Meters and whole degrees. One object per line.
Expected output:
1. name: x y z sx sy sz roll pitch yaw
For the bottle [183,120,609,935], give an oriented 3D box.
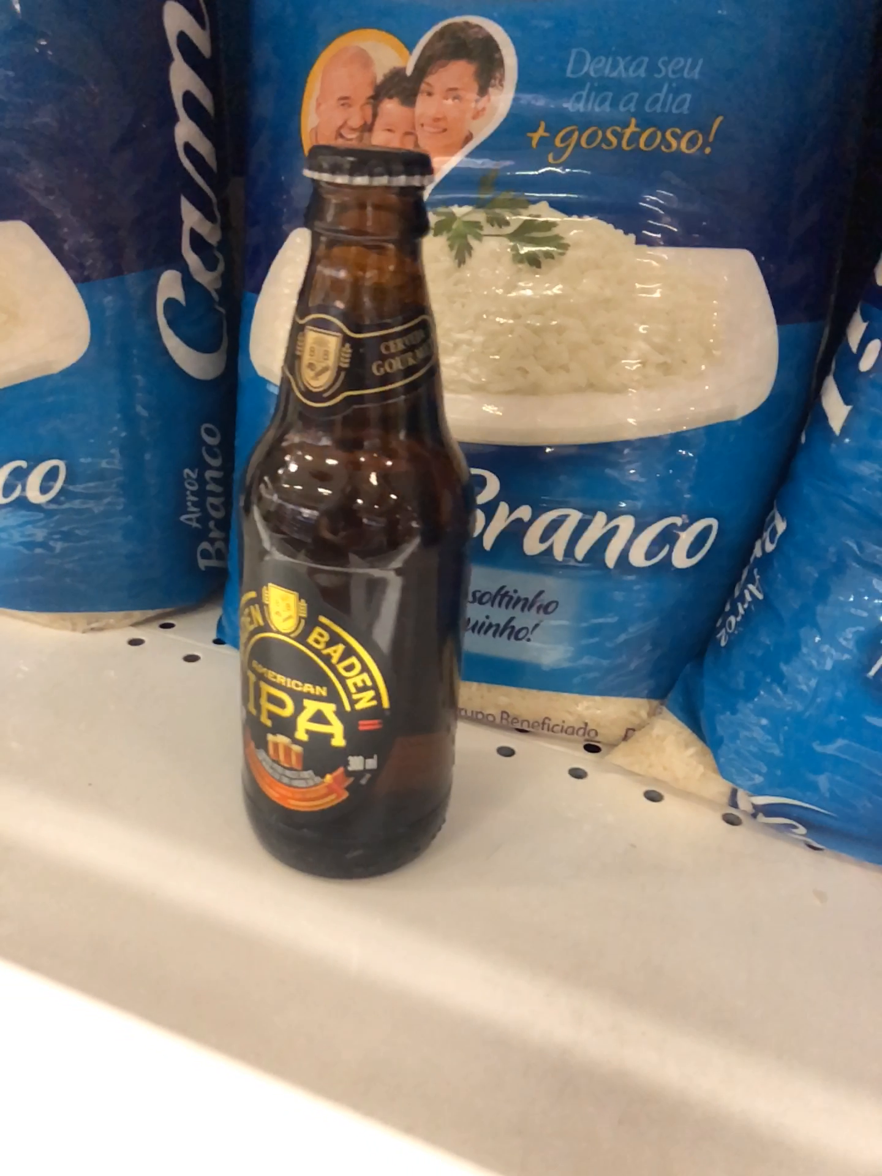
1. bottle: -0.014 -0.013 0.253 0.070 0.189 0.060 19 31 25
